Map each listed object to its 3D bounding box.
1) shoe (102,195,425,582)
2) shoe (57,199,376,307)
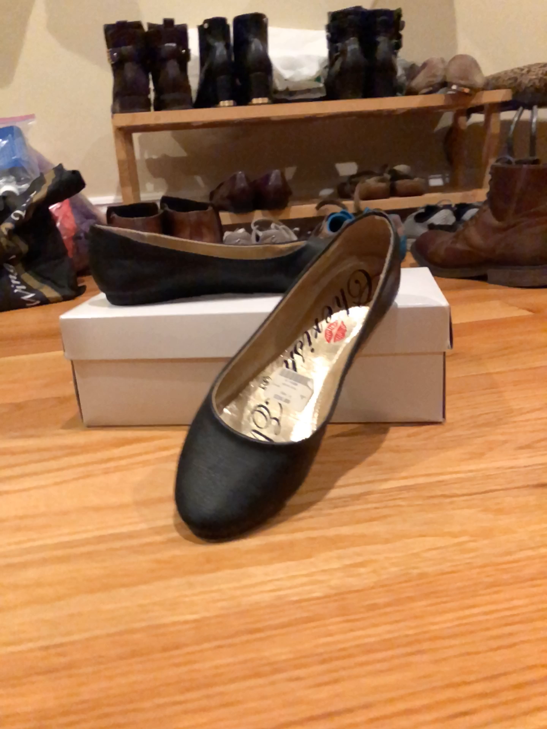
[{"bbox_3d":[0.007,0.004,0.382,0.076,0.060,0.240,24,67,27],"label":"shoe"},{"bbox_3d":[-0.042,-0.094,0.498,0.239,0.060,0.076,-4,18,0],"label":"shoe"}]
